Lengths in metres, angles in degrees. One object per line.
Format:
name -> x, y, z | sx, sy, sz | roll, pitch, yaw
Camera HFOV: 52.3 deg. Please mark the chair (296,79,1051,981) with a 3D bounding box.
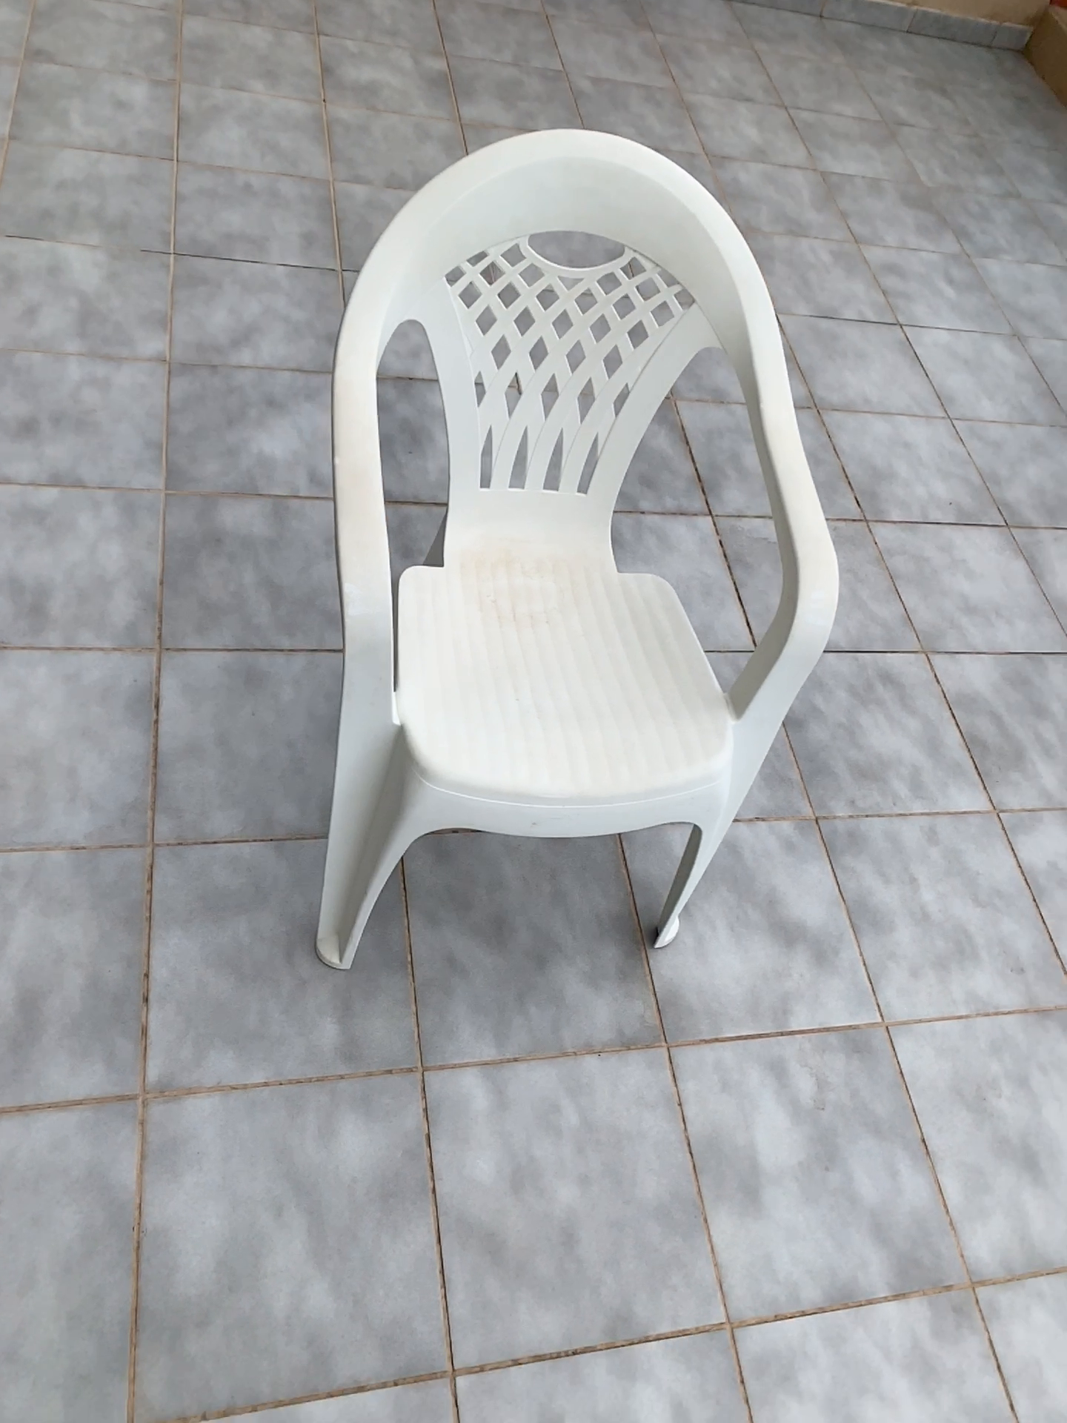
chair -> 0.022, -0.140, 1.307 | 0.543, 0.824, 0.611 | 0, 55, -16
